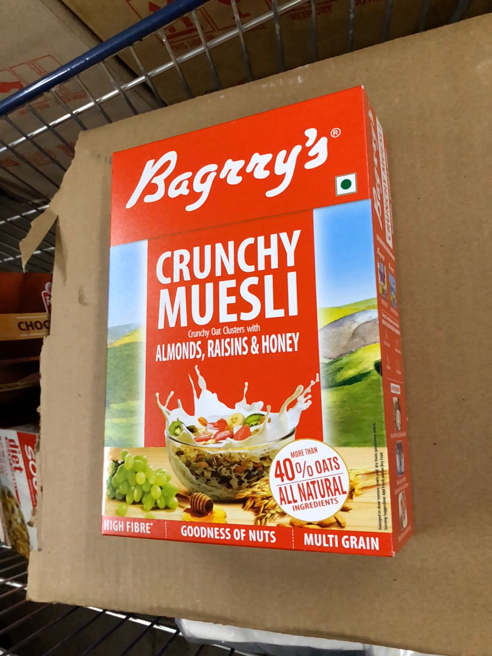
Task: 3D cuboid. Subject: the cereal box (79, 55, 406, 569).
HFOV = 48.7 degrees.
[{"bbox_3d":[-0.008,-0.005,0.340,0.180,0.070,0.260,-6,80,25],"label":"cereal box"}]
